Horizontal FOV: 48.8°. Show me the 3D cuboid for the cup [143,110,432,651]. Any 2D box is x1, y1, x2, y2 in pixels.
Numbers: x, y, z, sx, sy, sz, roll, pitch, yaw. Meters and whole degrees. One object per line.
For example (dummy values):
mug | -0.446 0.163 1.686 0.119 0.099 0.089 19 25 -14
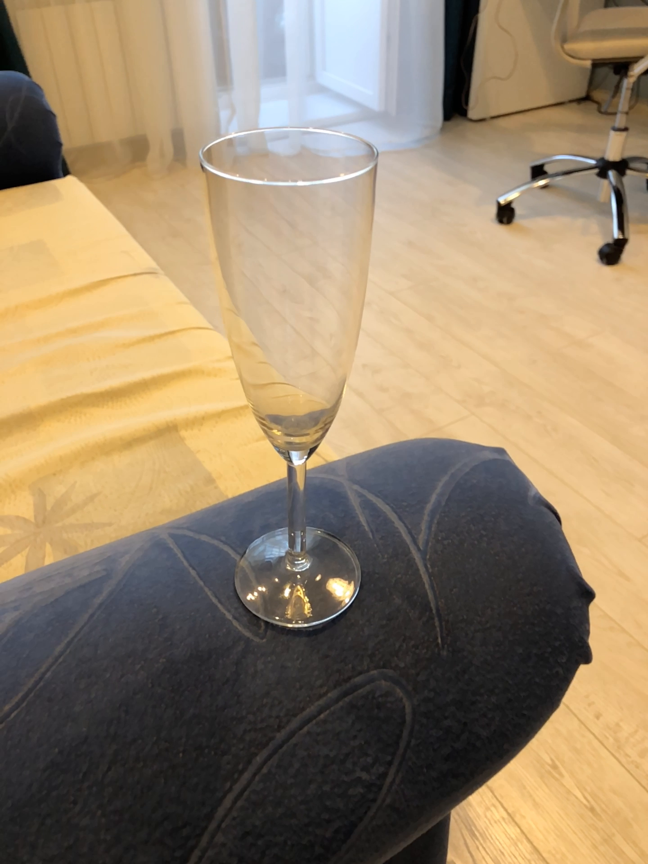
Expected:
cup | -0.012 -0.012 0.309 0.076 0.214 0.072 -1 38 1
